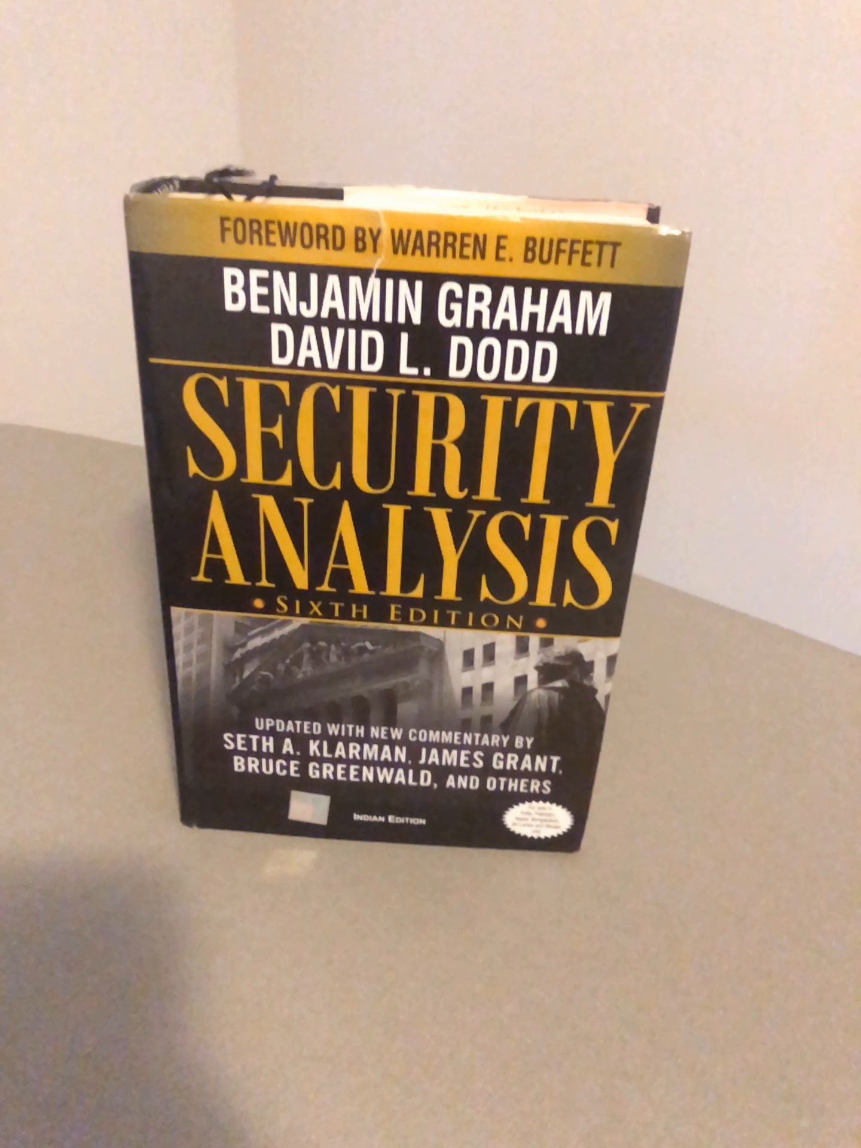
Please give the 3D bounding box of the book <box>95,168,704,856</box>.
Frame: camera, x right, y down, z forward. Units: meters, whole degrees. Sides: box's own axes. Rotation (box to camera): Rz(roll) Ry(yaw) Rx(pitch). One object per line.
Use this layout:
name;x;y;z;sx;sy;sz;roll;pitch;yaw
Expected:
book;-0.013;-0.010;0.334;0.164;0.230;0.047;4;29;2
